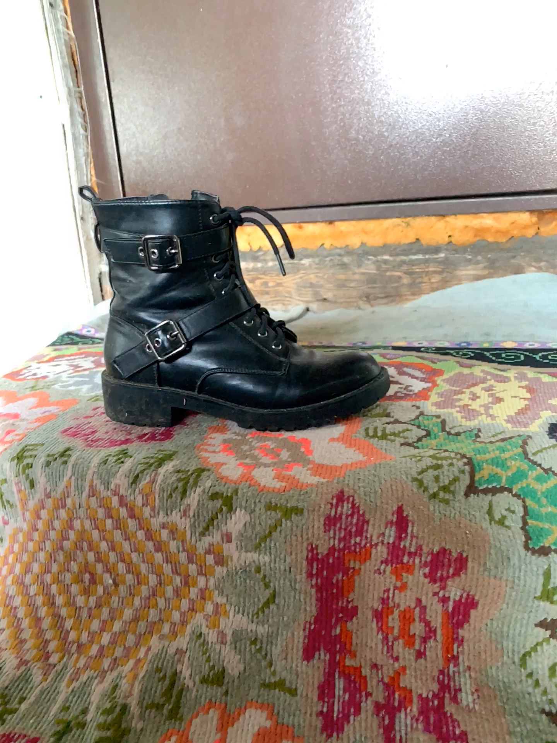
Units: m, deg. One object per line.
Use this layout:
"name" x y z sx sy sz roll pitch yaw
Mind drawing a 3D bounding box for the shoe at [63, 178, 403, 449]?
"shoe" -0.025 -0.046 0.463 0.240 0.189 0.091 -1 16 12
